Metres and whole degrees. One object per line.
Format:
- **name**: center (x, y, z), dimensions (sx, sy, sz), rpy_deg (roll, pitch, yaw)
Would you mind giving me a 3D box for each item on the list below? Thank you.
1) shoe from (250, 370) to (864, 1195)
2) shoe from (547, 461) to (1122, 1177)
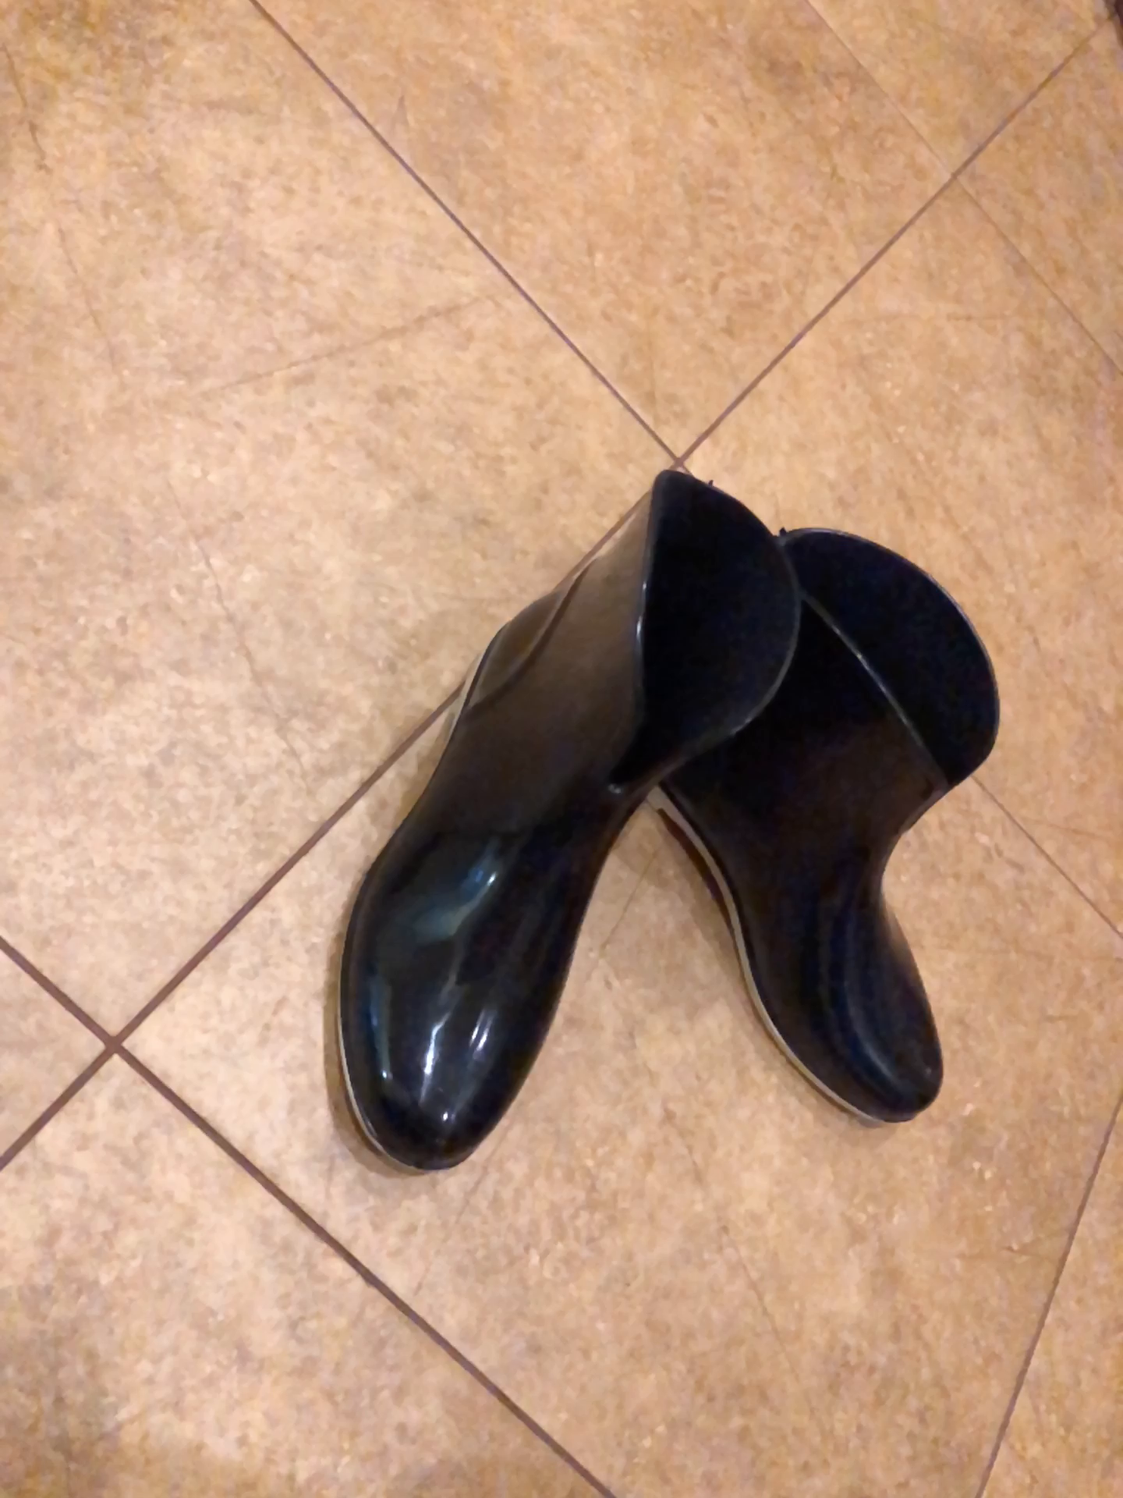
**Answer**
- **shoe**: center (-0.001, 0.020, 0.441), dimensions (0.090, 0.169, 0.241), rpy_deg (28, 59, -18)
- **shoe**: center (0.128, 0.040, 0.504), dimensions (0.090, 0.169, 0.240), rpy_deg (-30, 87, -35)
